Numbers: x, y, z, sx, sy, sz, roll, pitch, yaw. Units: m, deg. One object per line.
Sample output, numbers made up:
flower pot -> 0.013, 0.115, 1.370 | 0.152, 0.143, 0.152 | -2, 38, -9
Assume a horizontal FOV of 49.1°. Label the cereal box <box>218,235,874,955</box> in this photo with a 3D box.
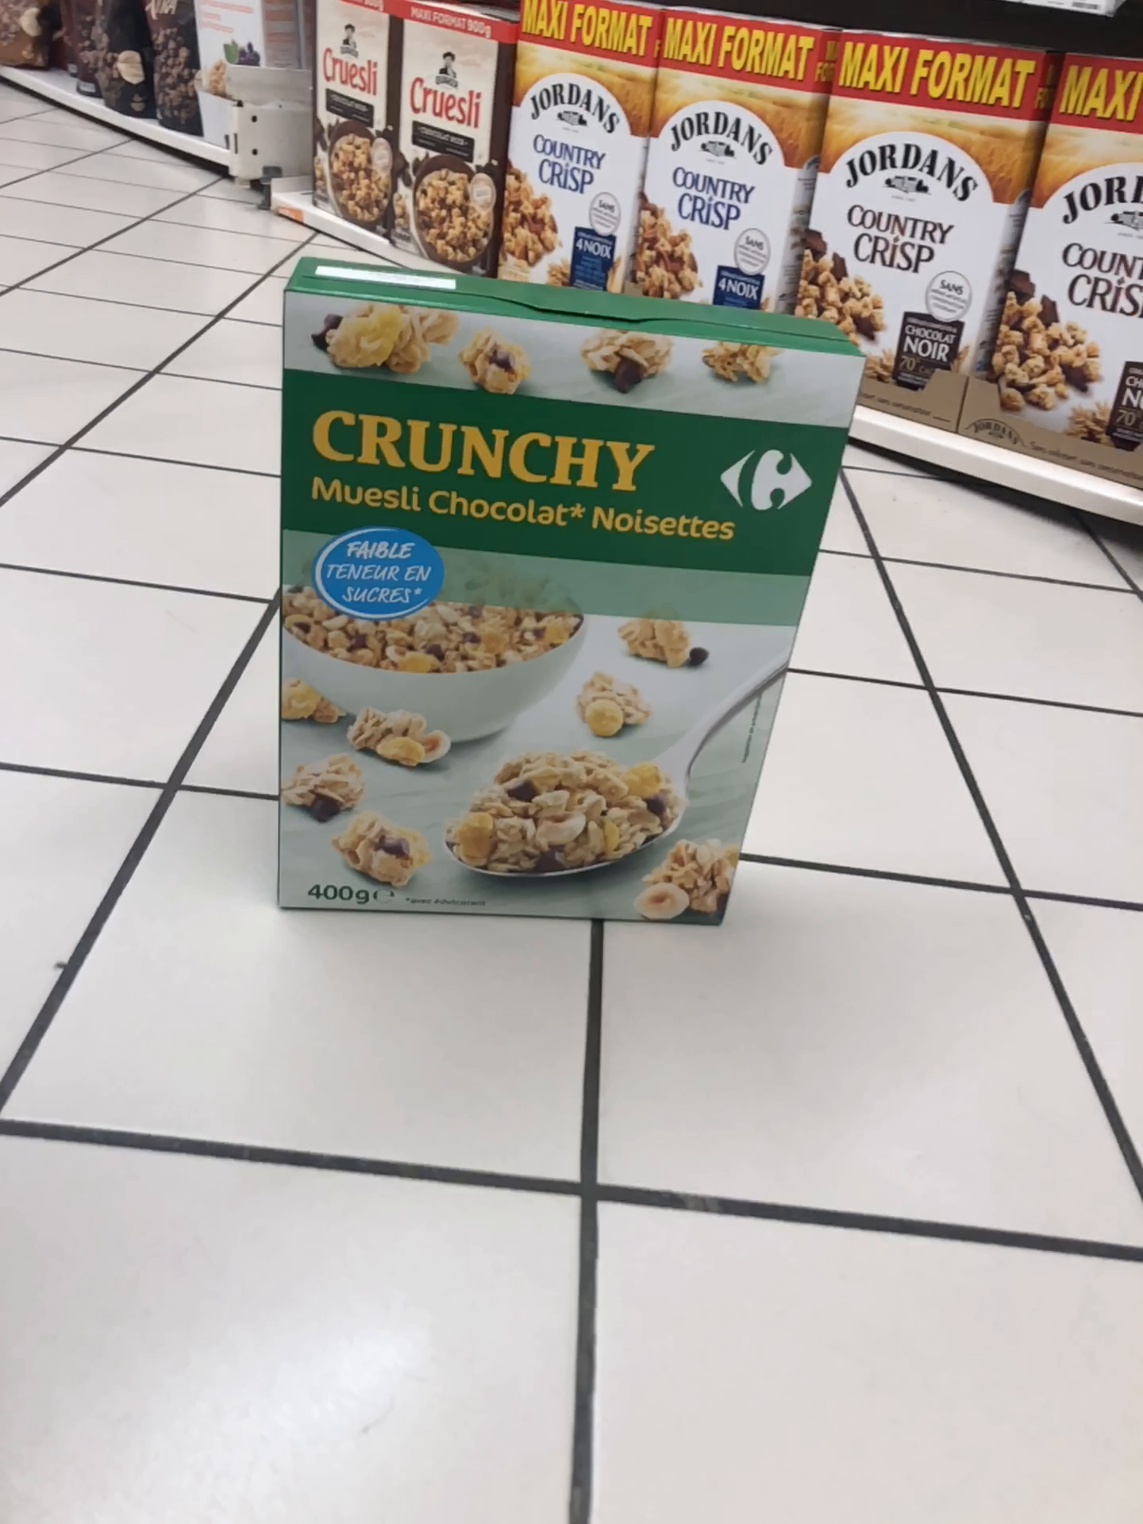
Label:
cereal box -> -0.023, -0.047, 0.468 | 0.200, 0.248, 0.060 | 4, 32, -8
